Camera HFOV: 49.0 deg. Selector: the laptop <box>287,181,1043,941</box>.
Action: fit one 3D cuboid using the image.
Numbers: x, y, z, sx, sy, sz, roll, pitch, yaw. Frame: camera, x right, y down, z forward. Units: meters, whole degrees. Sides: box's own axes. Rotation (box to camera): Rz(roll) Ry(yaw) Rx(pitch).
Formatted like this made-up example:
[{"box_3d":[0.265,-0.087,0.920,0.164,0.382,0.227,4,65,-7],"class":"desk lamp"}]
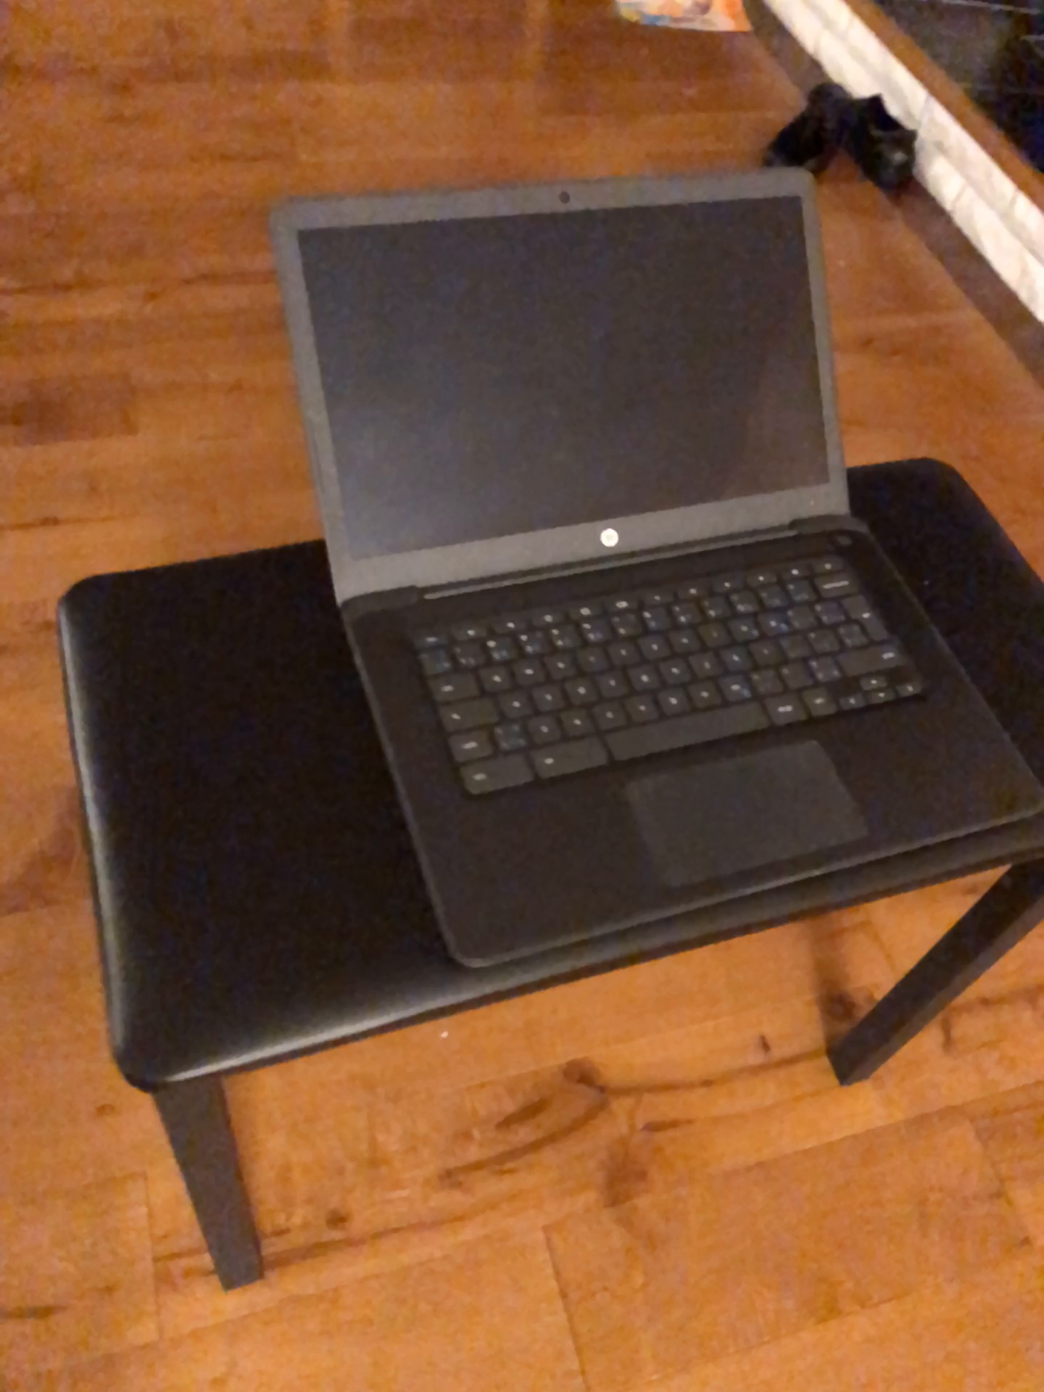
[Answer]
[{"box_3d":[0.073,-0.102,0.603,0.316,0.143,0.364,-11,54,-17],"class":"laptop"}]
